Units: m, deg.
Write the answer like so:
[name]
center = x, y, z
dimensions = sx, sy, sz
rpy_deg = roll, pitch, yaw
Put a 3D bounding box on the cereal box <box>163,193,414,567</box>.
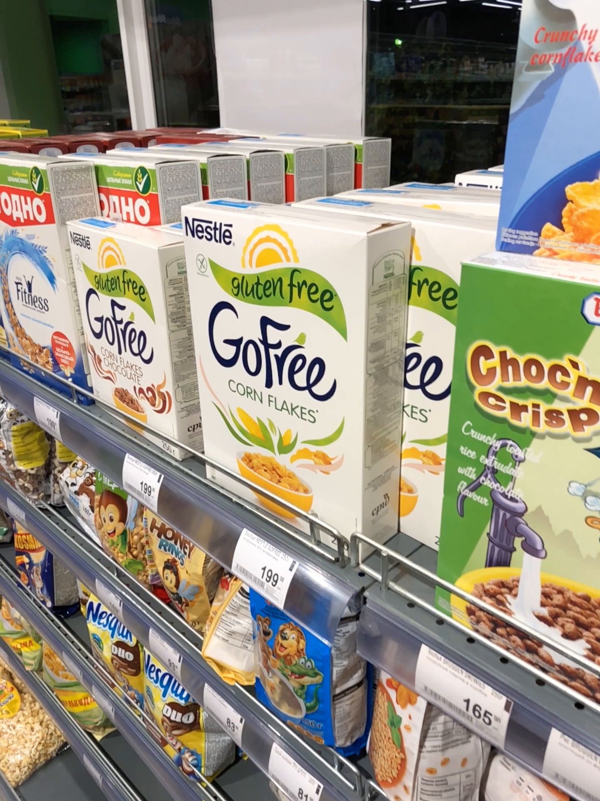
[cereal box]
center = -0.013, -0.024, 0.520
dimensions = 0.190, 0.249, 0.060
rpy_deg = 20, 32, 39
